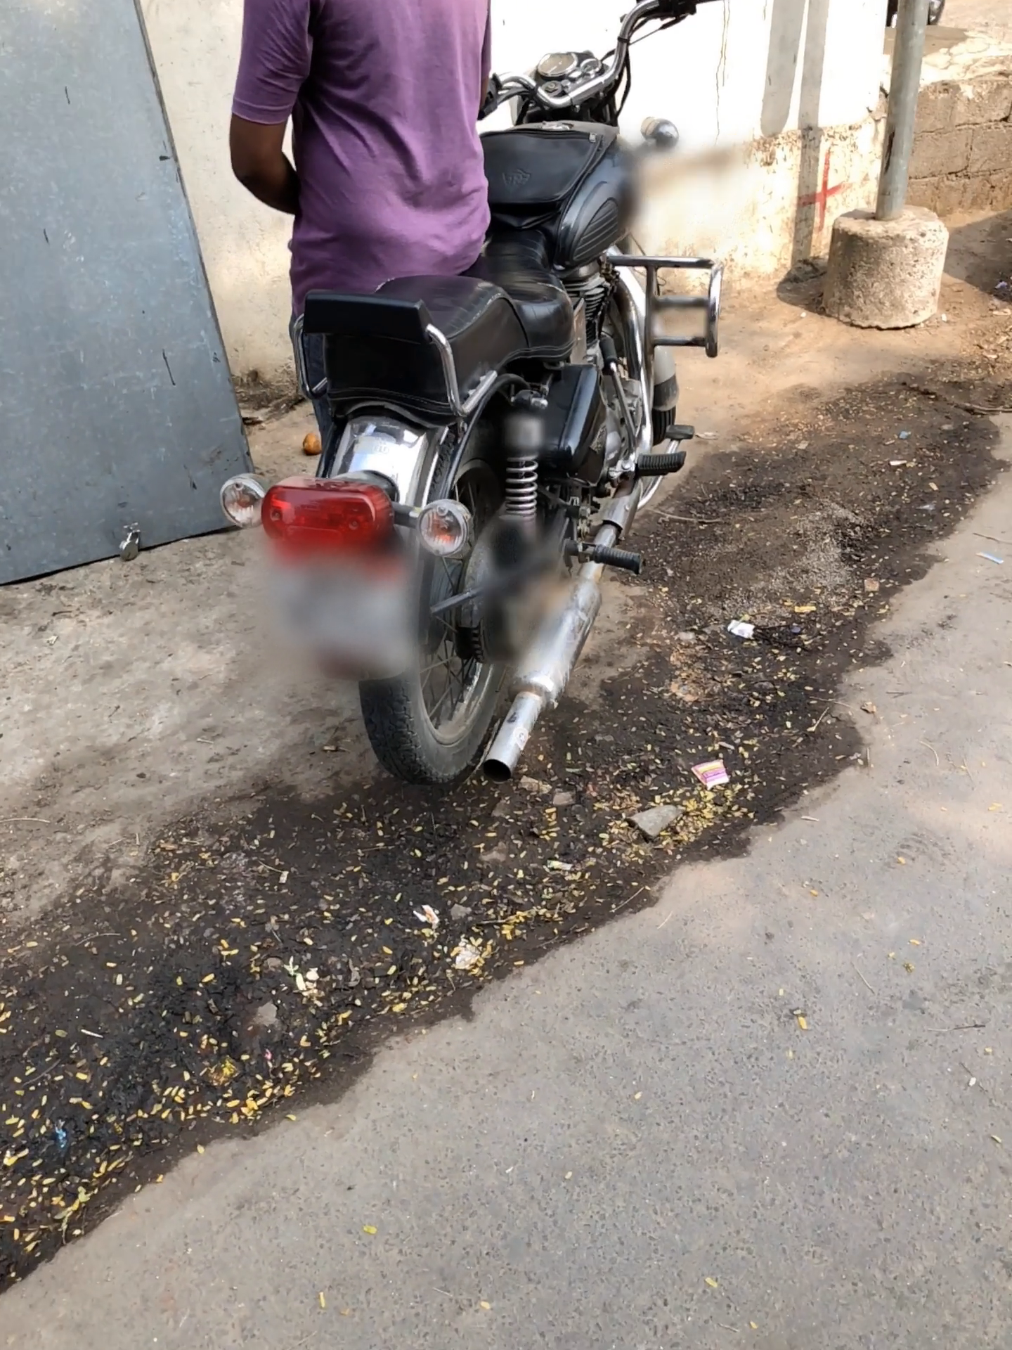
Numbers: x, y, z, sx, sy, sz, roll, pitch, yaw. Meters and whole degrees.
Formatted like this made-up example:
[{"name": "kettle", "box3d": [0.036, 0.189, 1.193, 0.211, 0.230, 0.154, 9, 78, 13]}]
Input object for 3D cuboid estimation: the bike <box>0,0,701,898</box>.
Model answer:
[{"name": "bike", "box3d": [-0.056, -0.757, 2.367, 0.838, 1.173, 1.933, 3, 39, 12]}]
